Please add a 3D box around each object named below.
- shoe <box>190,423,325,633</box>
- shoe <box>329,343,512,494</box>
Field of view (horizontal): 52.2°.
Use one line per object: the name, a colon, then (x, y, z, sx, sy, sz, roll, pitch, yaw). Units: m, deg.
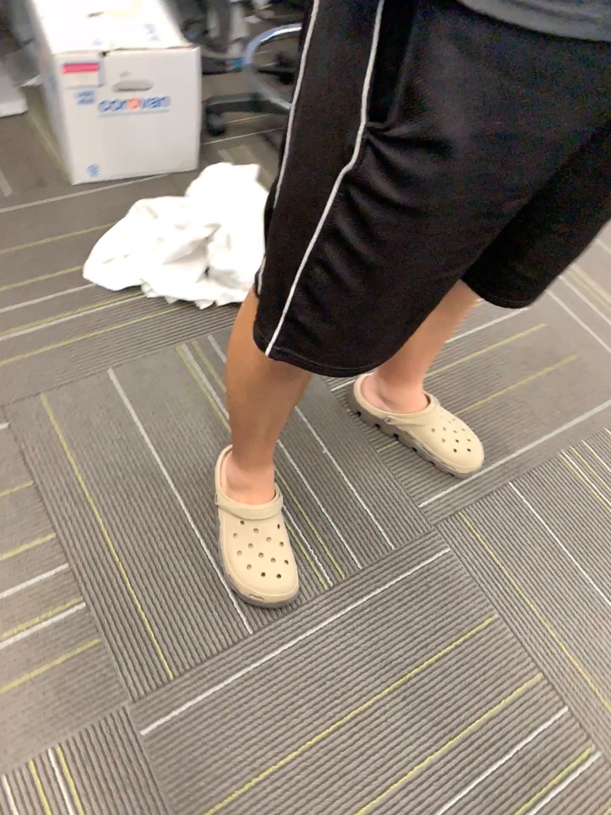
shoe: (-0.095, 0.198, 1.093, 0.150, 0.090, 0.331, -10, 57, -17)
shoe: (0.231, 0.018, 1.282, 0.330, 0.090, 0.140, 31, 55, 13)
